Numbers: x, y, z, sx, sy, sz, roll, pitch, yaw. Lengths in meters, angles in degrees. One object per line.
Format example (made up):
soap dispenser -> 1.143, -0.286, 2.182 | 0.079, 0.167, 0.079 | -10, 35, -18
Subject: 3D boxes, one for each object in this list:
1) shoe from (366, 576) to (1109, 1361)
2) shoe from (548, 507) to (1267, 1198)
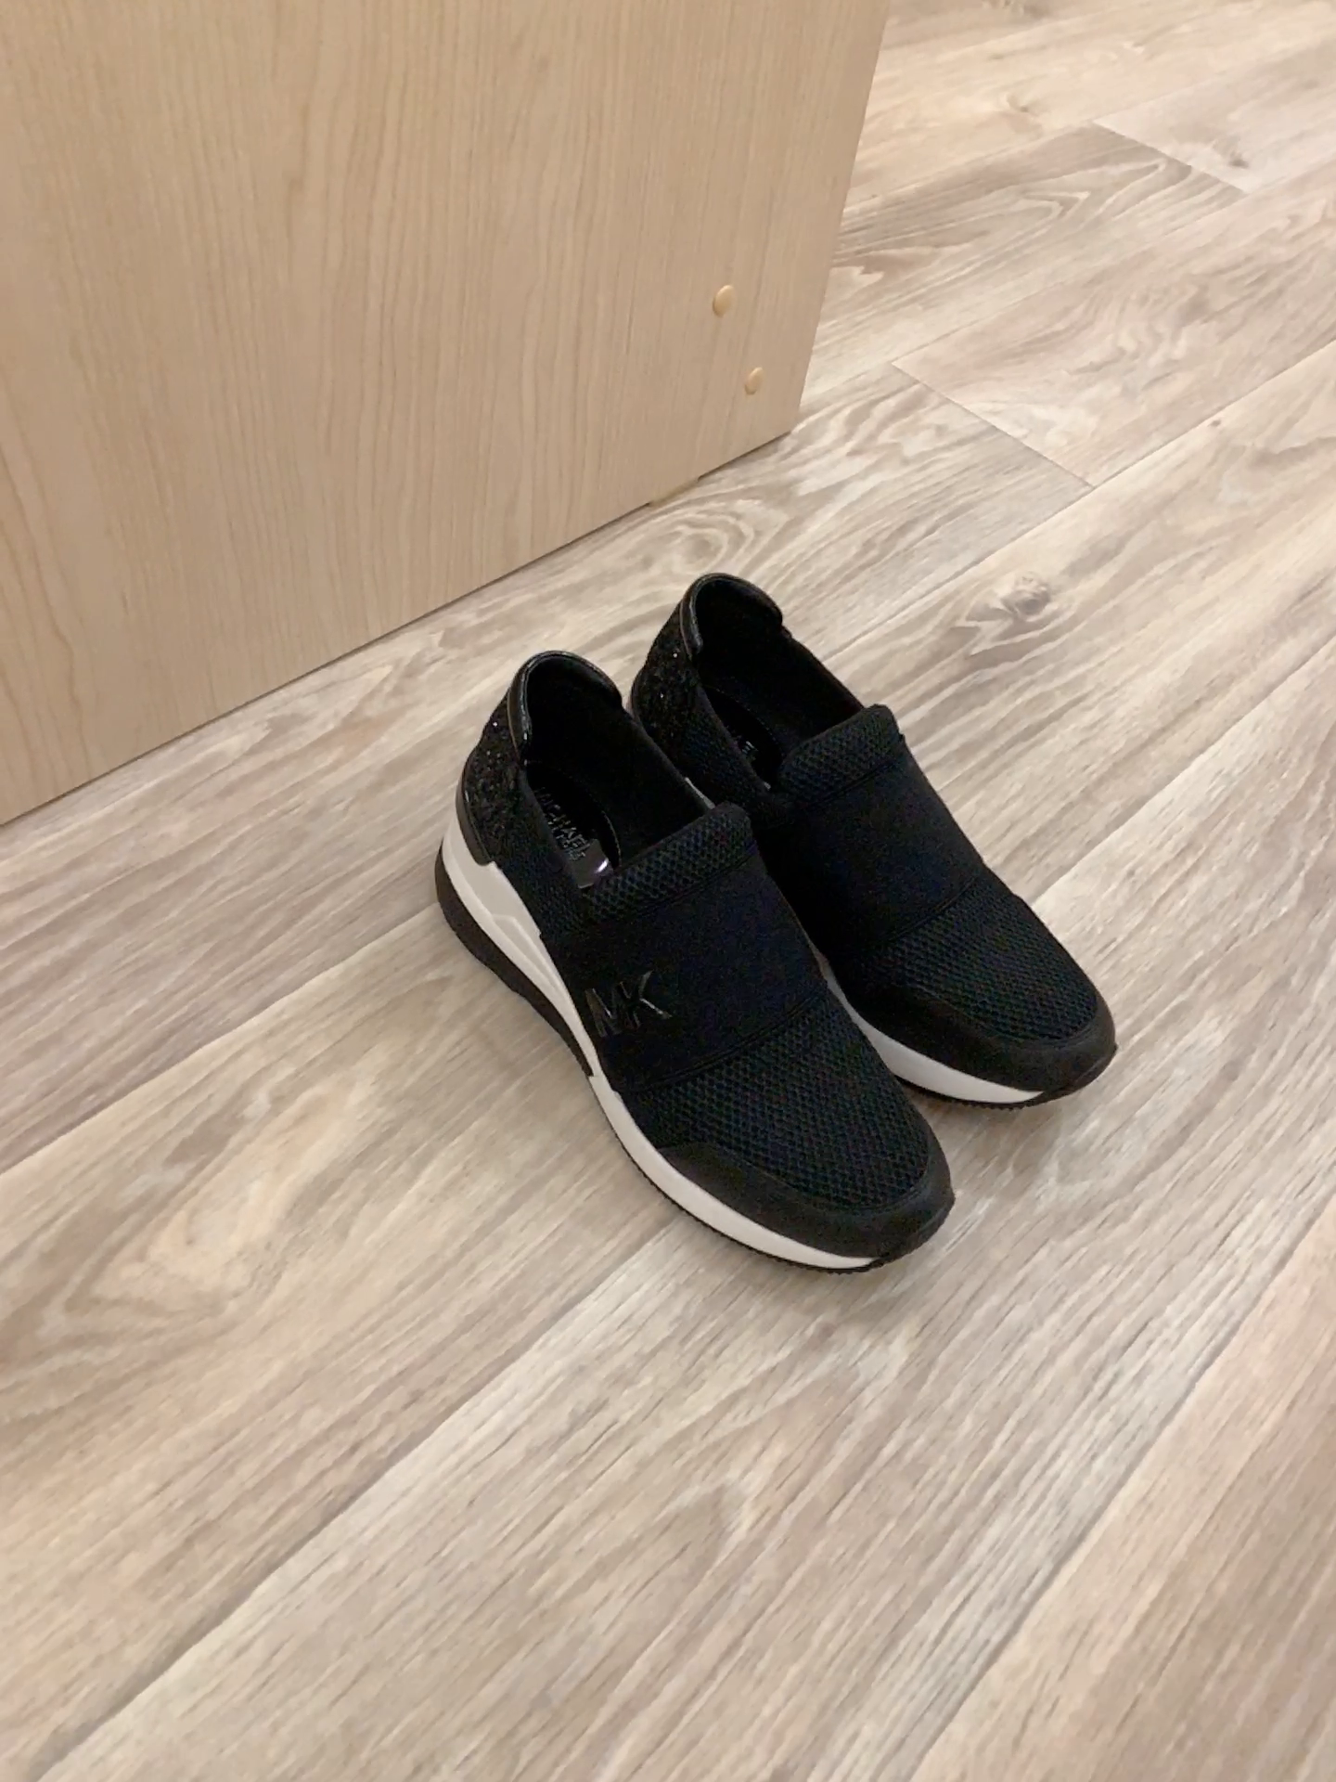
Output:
shoe -> 0.008, 0.019, 0.501 | 0.098, 0.119, 0.261 | -31, 62, -30
shoe -> 0.078, -0.023, 0.552 | 0.099, 0.119, 0.260 | -34, 63, -31
